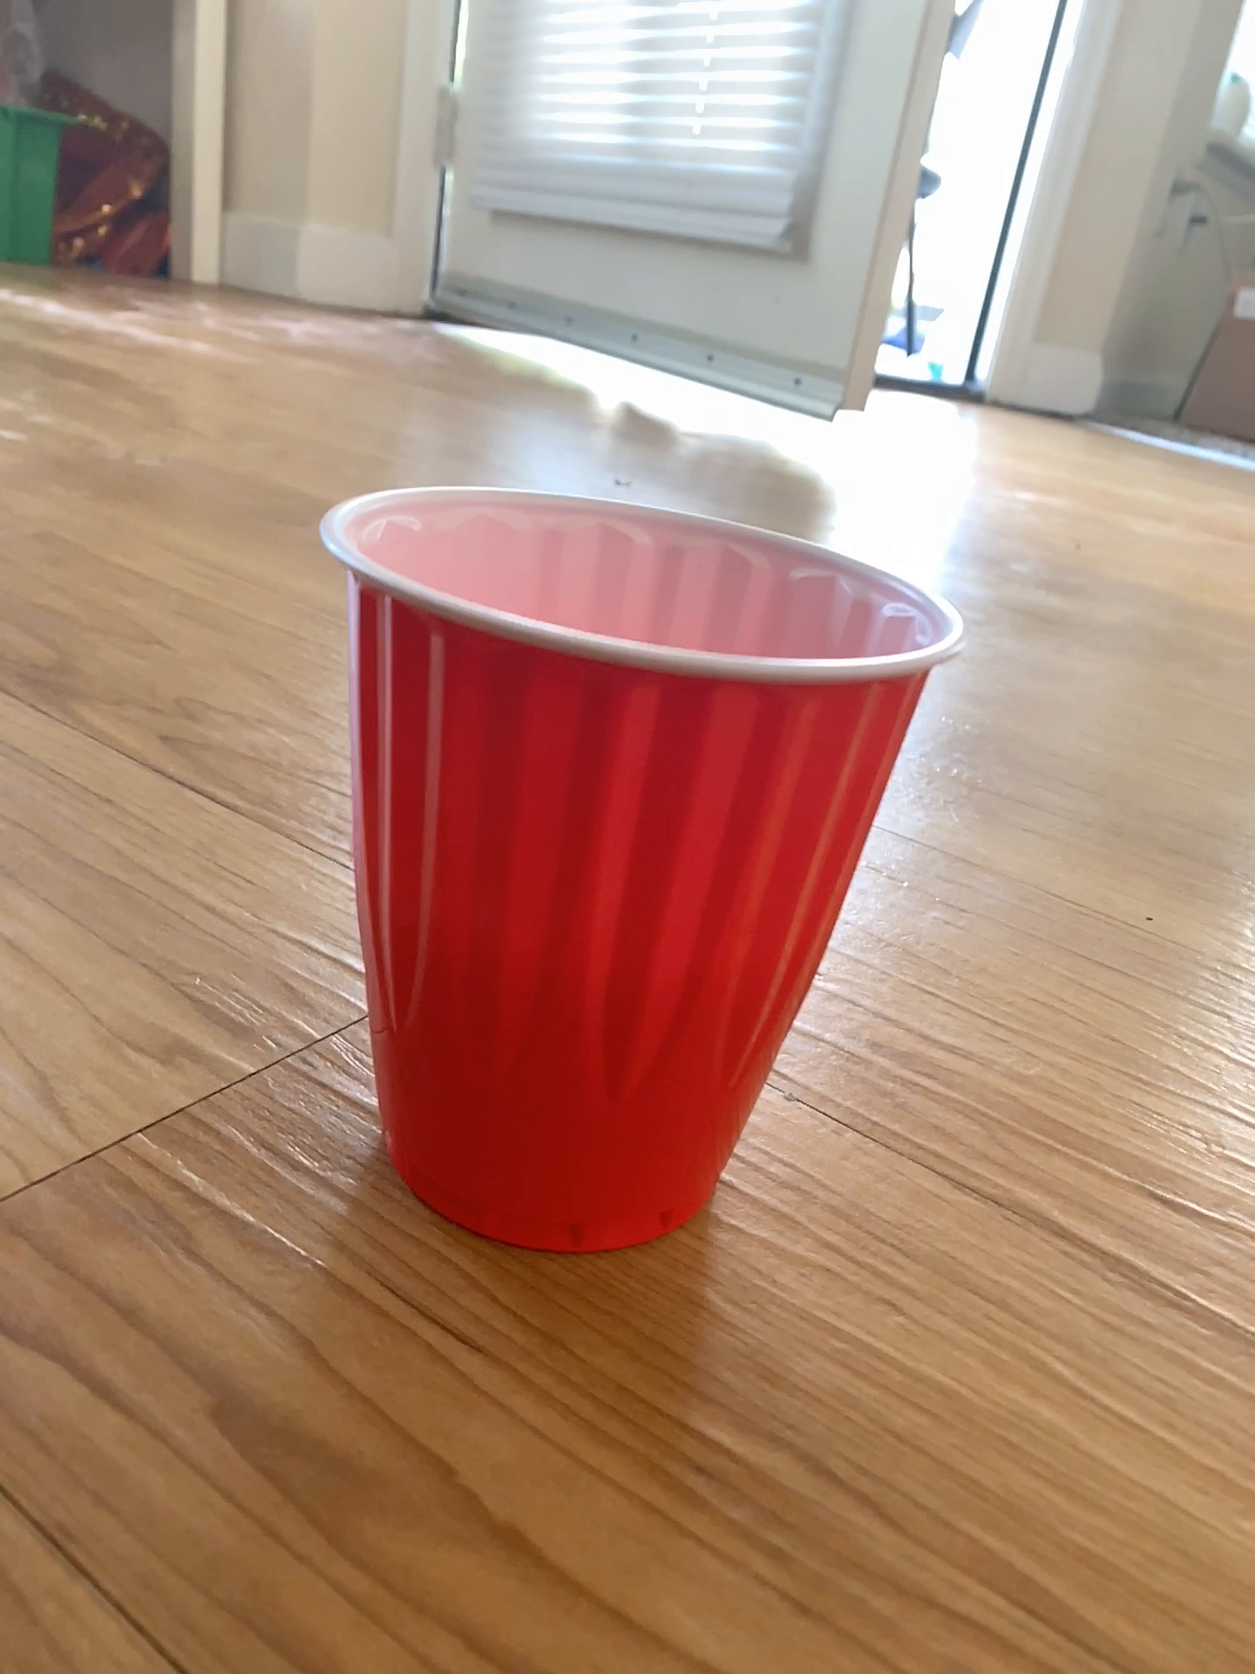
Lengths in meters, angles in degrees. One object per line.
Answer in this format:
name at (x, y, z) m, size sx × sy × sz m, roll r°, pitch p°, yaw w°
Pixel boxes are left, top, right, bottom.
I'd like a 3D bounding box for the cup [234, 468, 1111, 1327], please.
cup at (-0.007, 0.001, 0.208) m, size 0.100 × 0.090 × 0.100 m, roll 8°, pitch 24°, yaw -4°
